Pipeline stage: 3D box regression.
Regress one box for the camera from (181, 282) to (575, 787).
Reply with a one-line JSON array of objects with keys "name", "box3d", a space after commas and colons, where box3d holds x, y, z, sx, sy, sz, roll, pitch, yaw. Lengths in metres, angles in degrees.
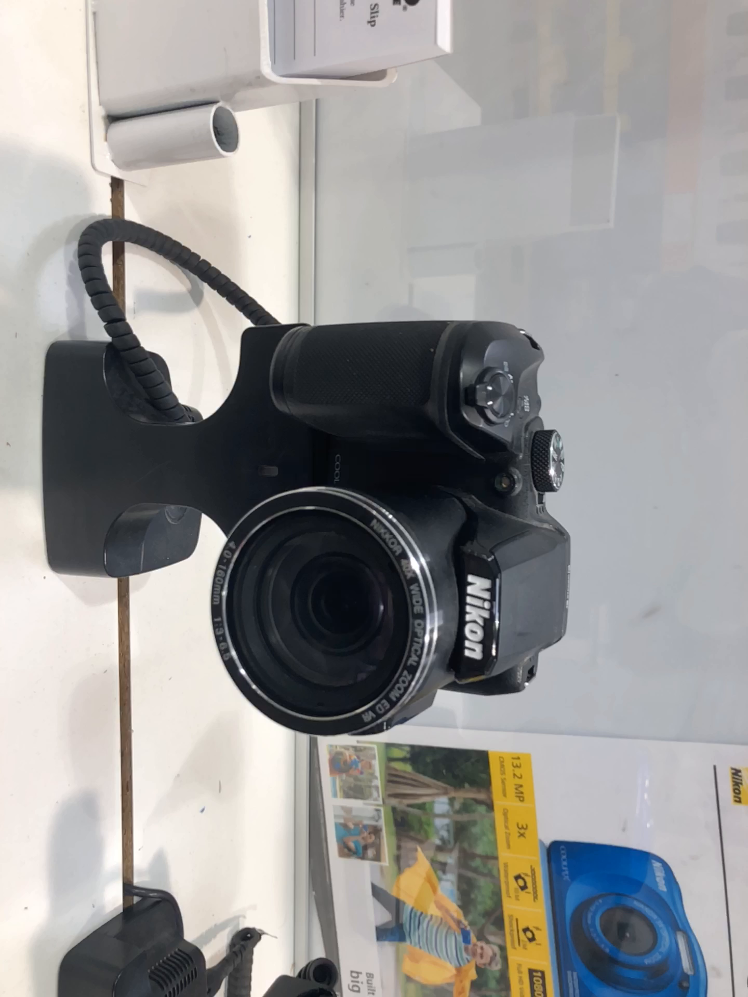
[{"name": "camera", "box3d": [0.008, 0.003, 0.250, 0.101, 0.079, 0.116, -14, 105, -63]}]
